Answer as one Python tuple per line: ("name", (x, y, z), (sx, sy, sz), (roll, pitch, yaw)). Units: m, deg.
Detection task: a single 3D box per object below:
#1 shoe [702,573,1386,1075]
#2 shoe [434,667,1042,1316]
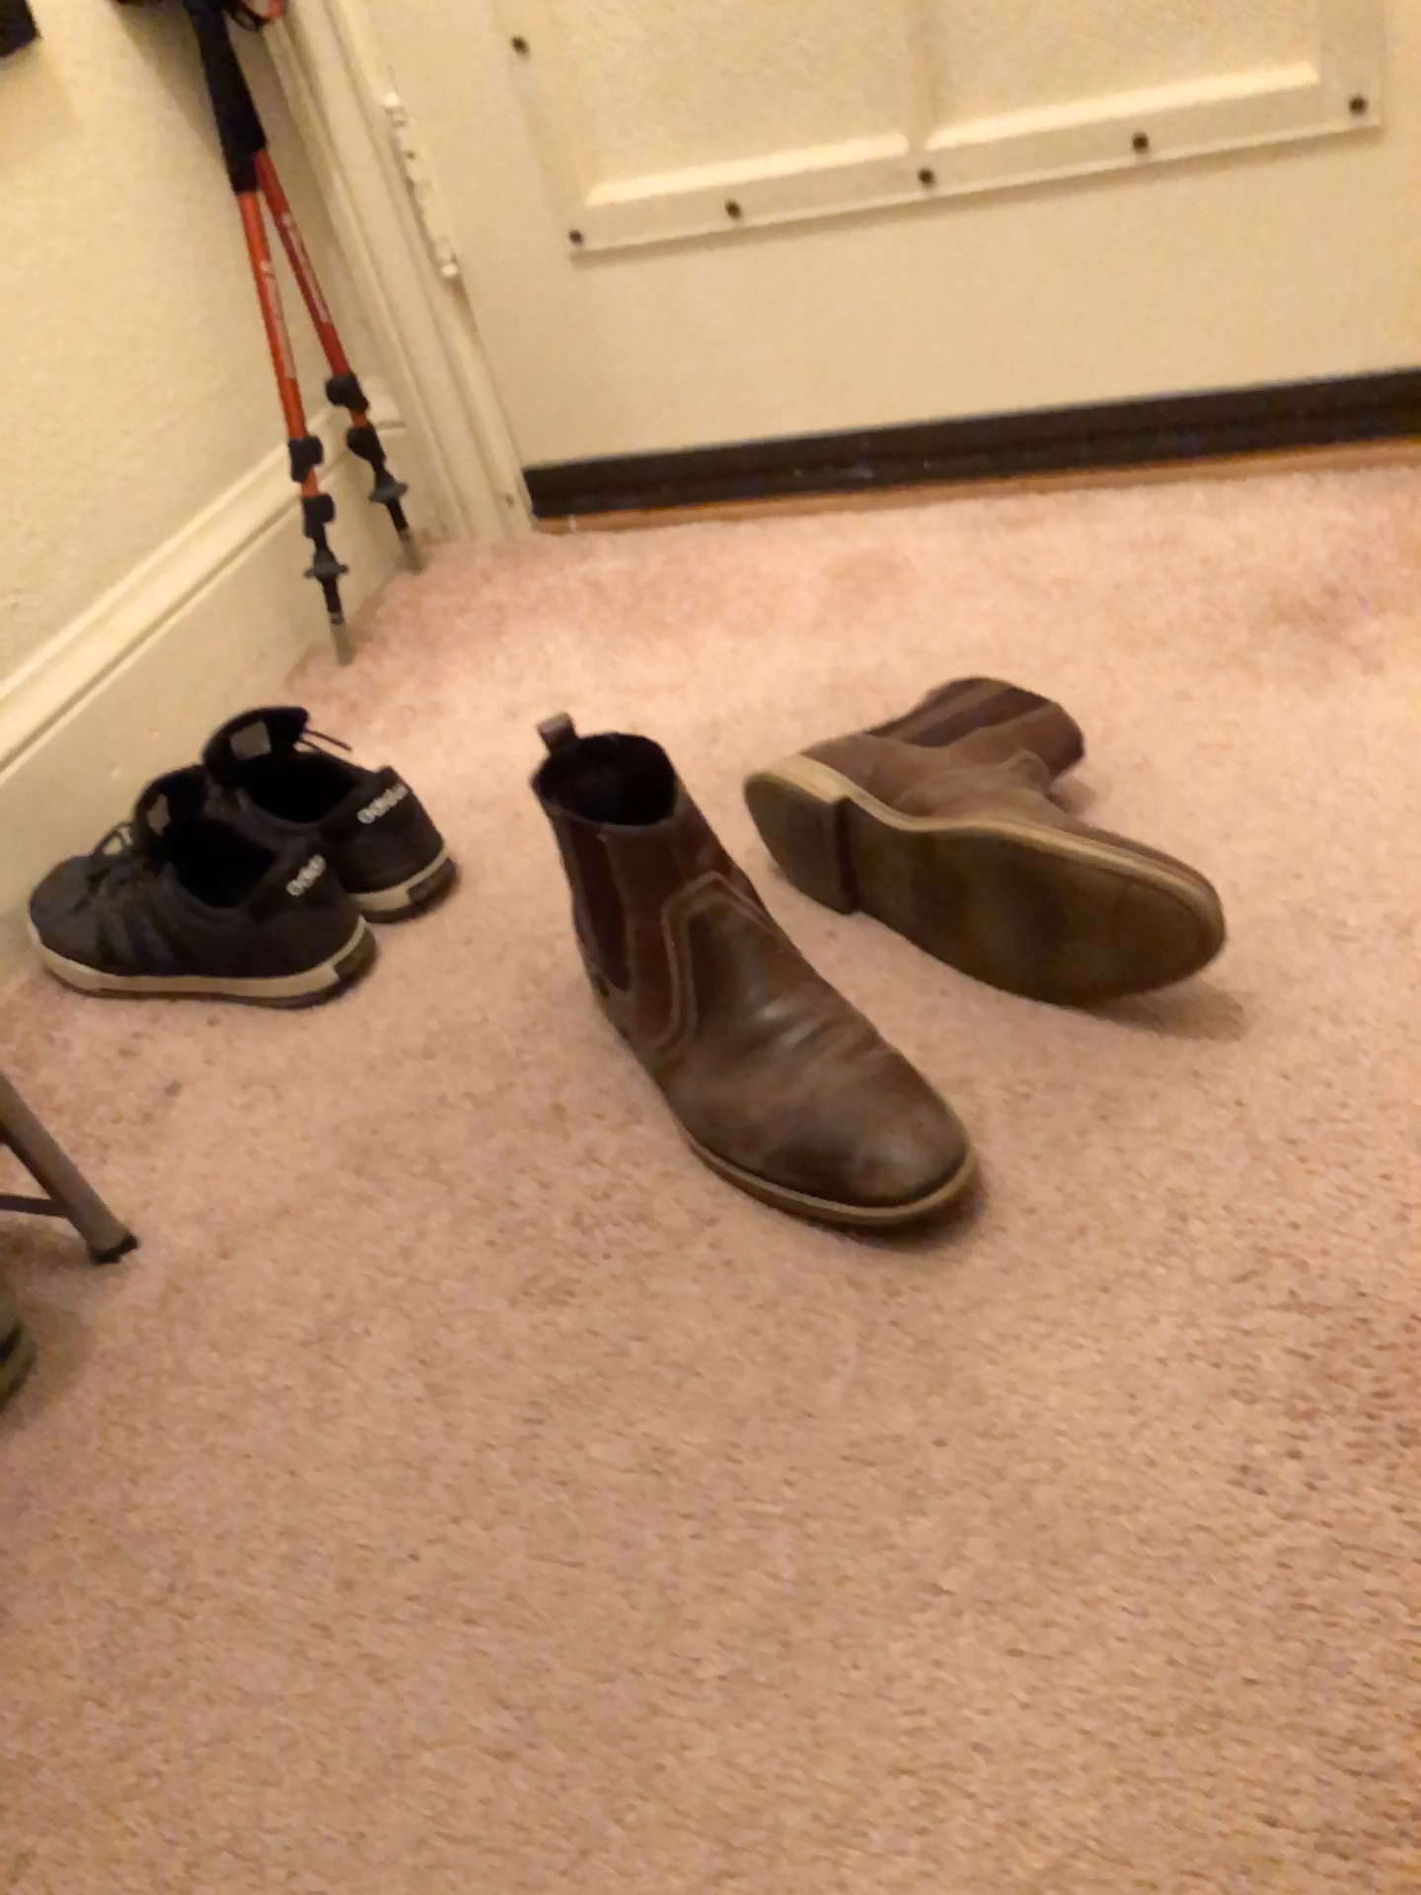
("shoe", (0.180, -0.086, 0.877), (0.187, 0.114, 0.314), (-40, 43, -24))
("shoe", (0.006, 0.006, 0.782), (0.115, 0.175, 0.309), (-32, 40, -18))
